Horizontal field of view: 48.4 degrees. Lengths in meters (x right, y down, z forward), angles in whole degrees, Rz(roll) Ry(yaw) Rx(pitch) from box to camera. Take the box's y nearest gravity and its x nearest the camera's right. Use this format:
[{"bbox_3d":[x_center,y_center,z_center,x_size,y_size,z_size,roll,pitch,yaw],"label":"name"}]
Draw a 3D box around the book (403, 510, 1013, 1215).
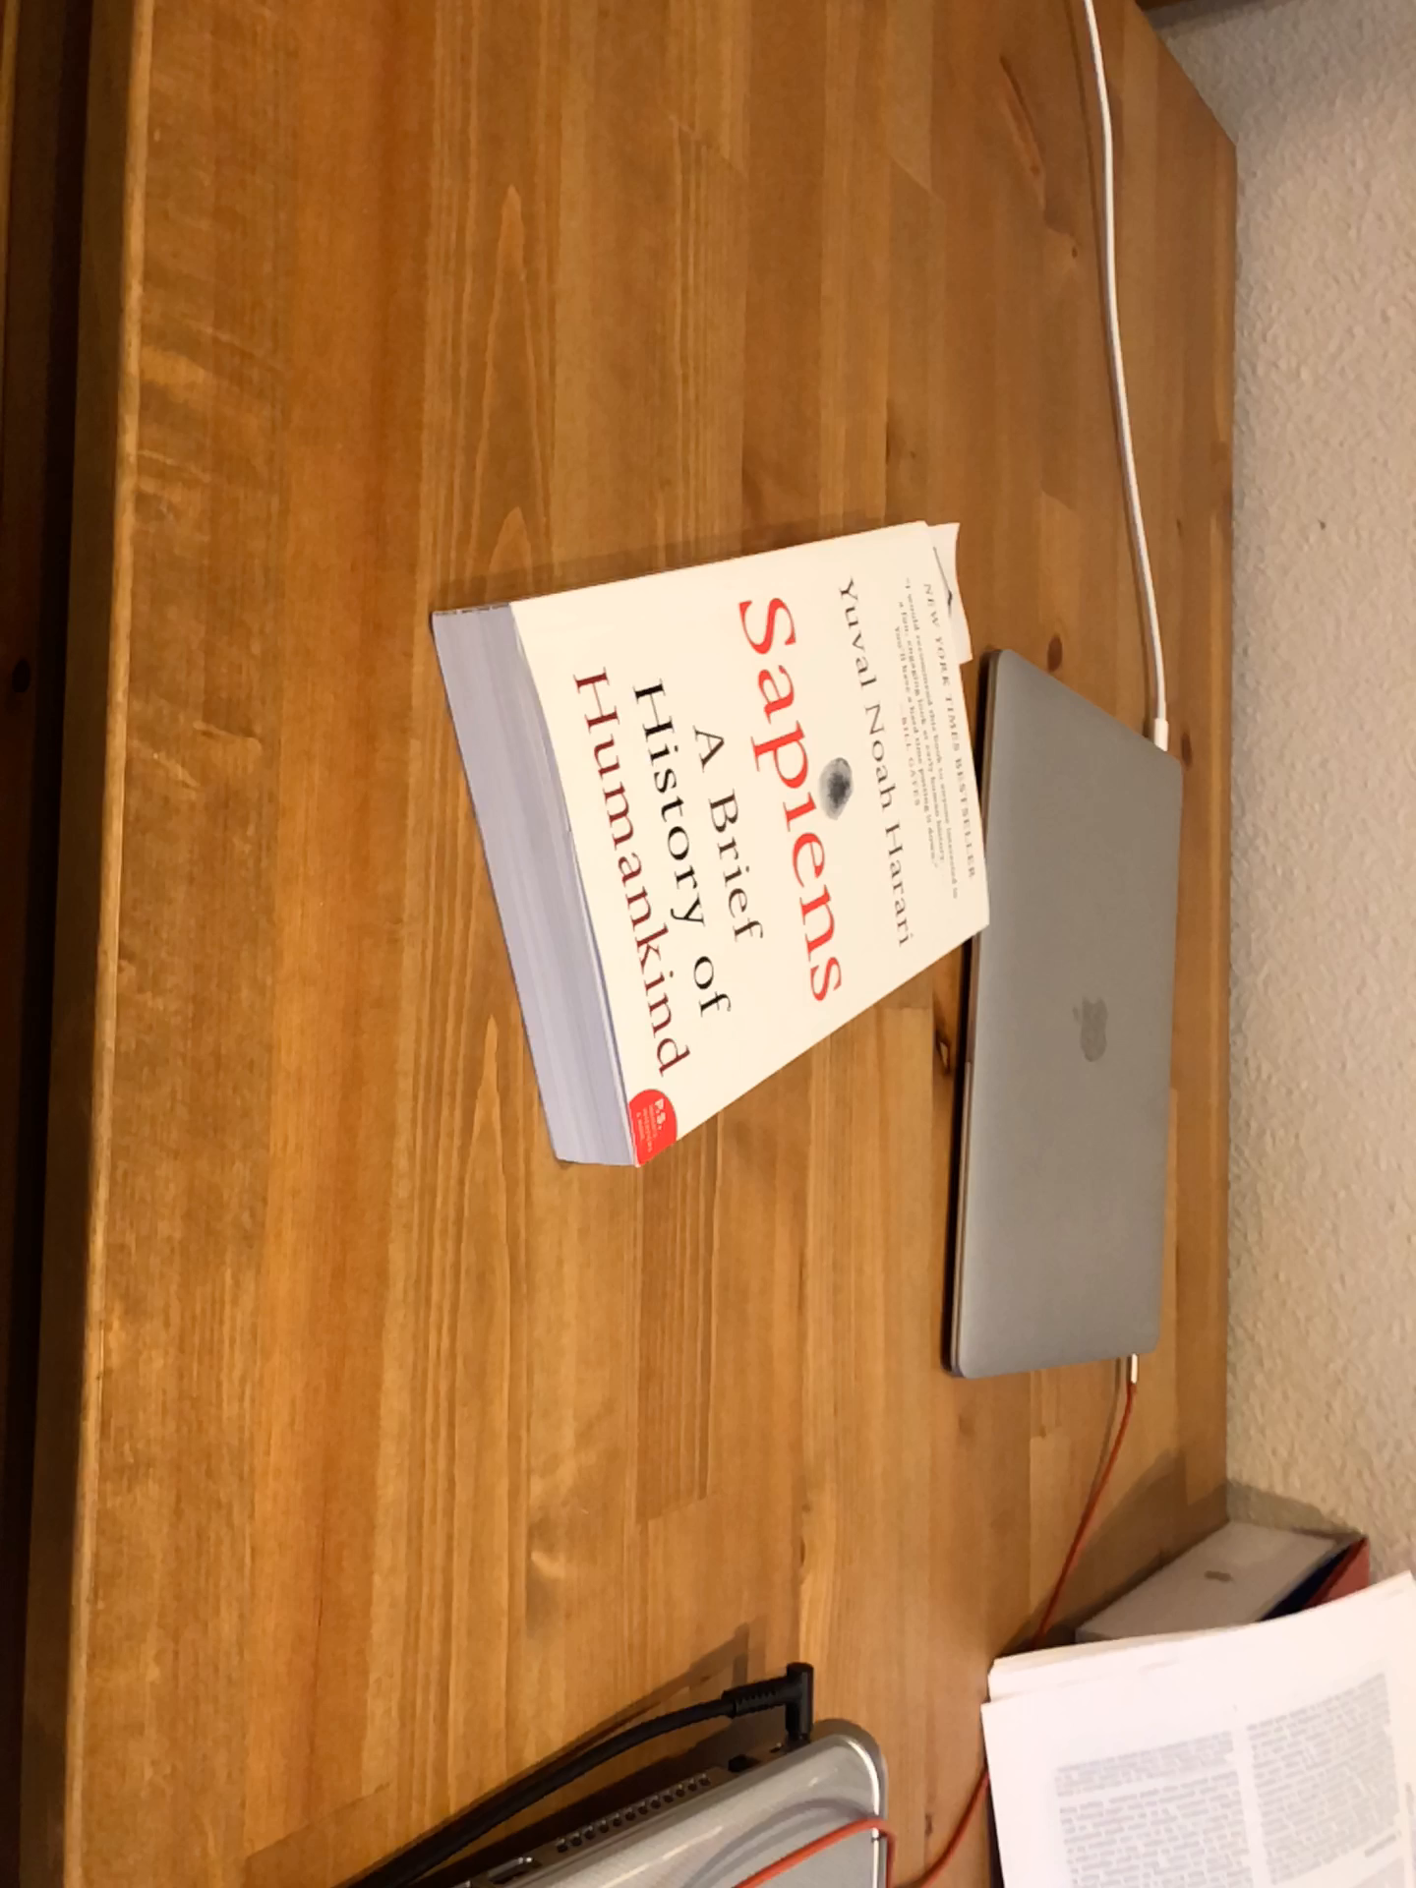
[{"bbox_3d":[0.021,-0.043,0.523,0.251,0.040,0.170,-29,112,-51],"label":"book"}]
